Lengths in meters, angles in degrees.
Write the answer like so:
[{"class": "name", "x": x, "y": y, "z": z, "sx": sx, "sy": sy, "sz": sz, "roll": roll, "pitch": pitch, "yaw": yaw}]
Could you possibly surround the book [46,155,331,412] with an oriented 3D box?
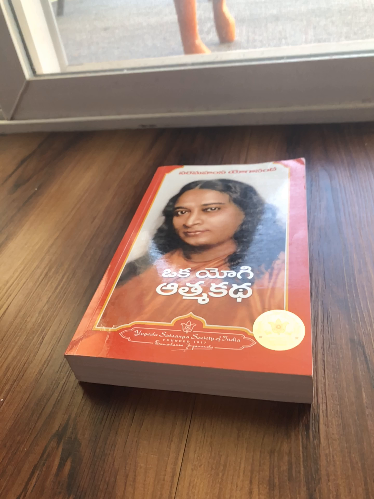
[{"class": "book", "x": 0.018, "y": 0.000, "z": 0.298, "sx": 0.148, "sy": 0.030, "sz": 0.215, "roll": 0, "pitch": 40, "yaw": 15}]
